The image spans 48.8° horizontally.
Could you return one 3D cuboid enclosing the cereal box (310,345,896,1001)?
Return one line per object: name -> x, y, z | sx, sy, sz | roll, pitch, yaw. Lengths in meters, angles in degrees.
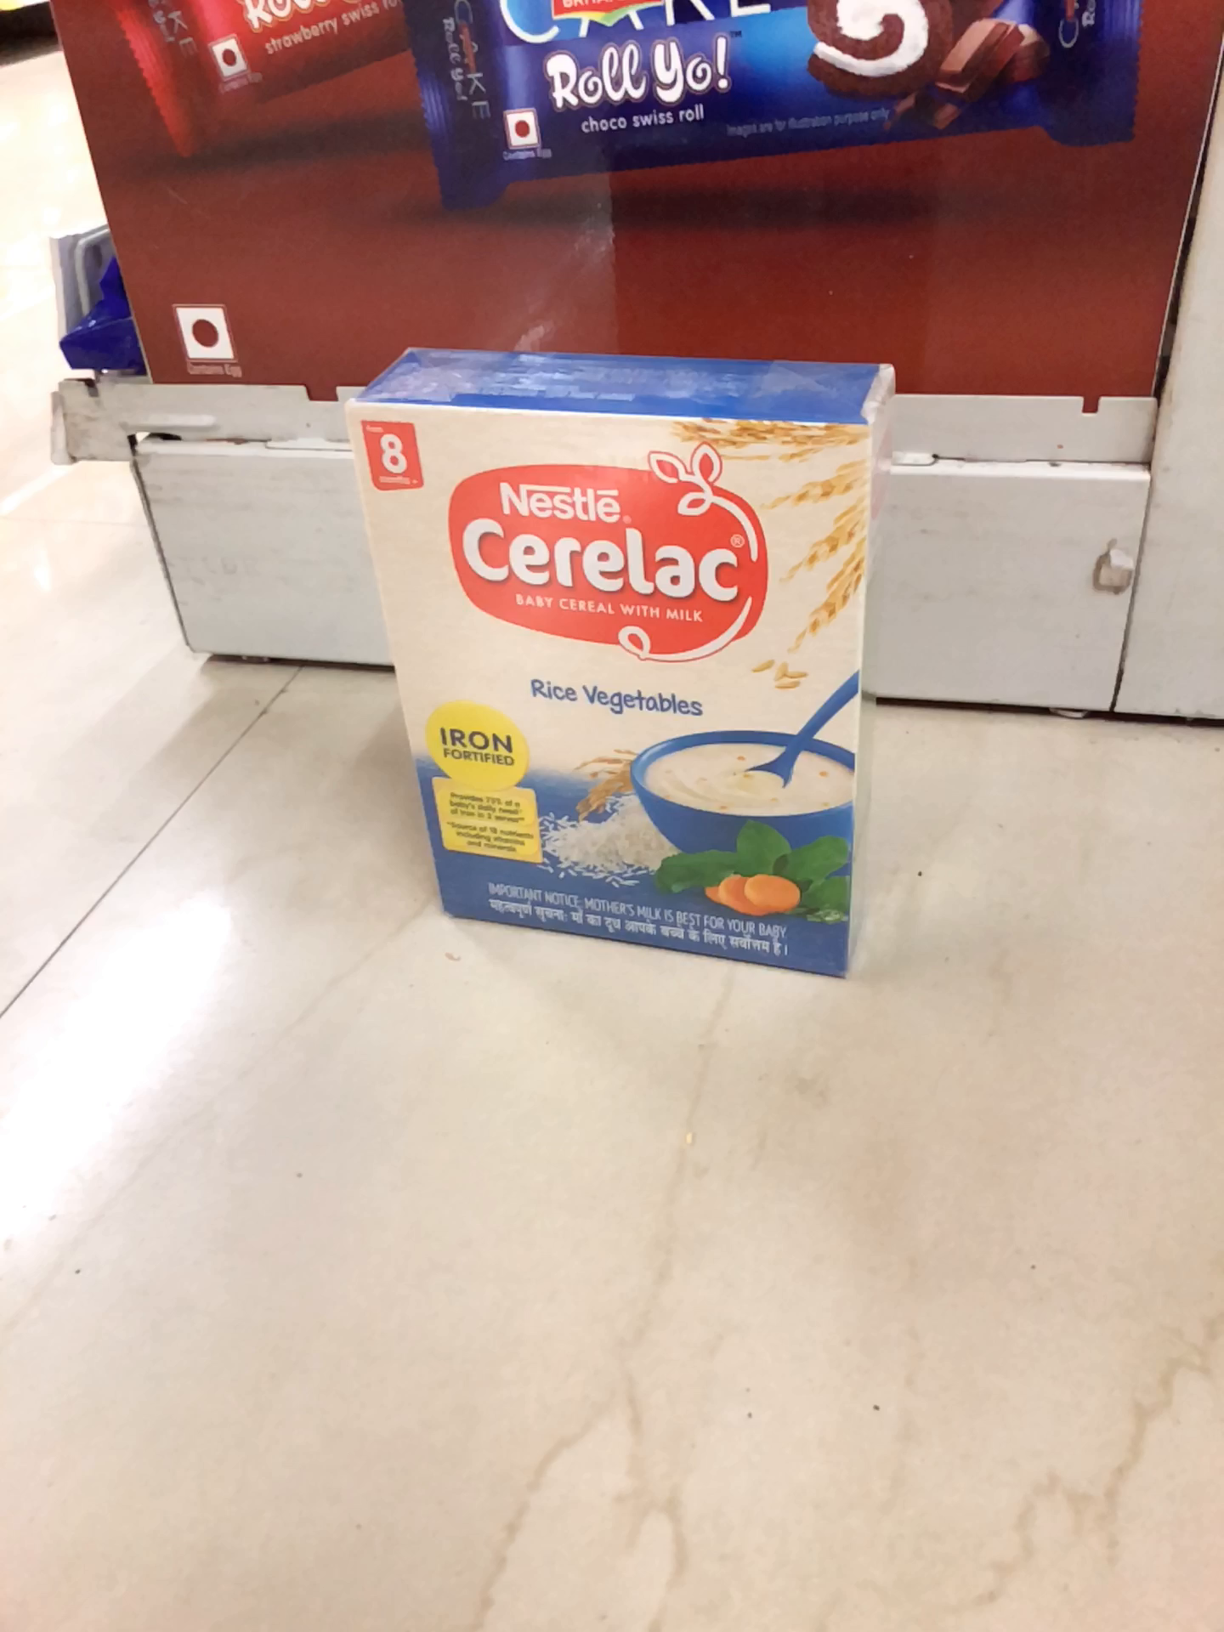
cereal box -> 0.004, -0.044, 0.449 | 0.160, 0.199, 0.060 | 7, 37, 16
